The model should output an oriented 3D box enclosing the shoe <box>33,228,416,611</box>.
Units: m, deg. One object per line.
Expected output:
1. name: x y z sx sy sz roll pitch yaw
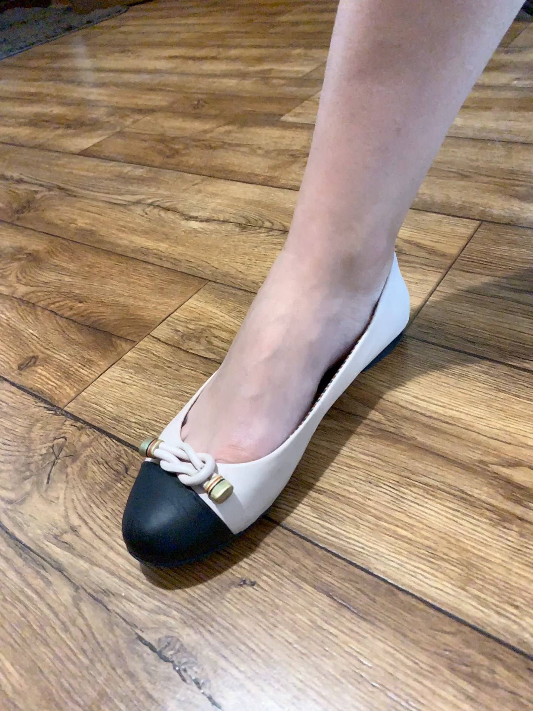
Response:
1. shoe: -0.005 0.015 0.309 0.084 0.059 0.220 21 51 32
